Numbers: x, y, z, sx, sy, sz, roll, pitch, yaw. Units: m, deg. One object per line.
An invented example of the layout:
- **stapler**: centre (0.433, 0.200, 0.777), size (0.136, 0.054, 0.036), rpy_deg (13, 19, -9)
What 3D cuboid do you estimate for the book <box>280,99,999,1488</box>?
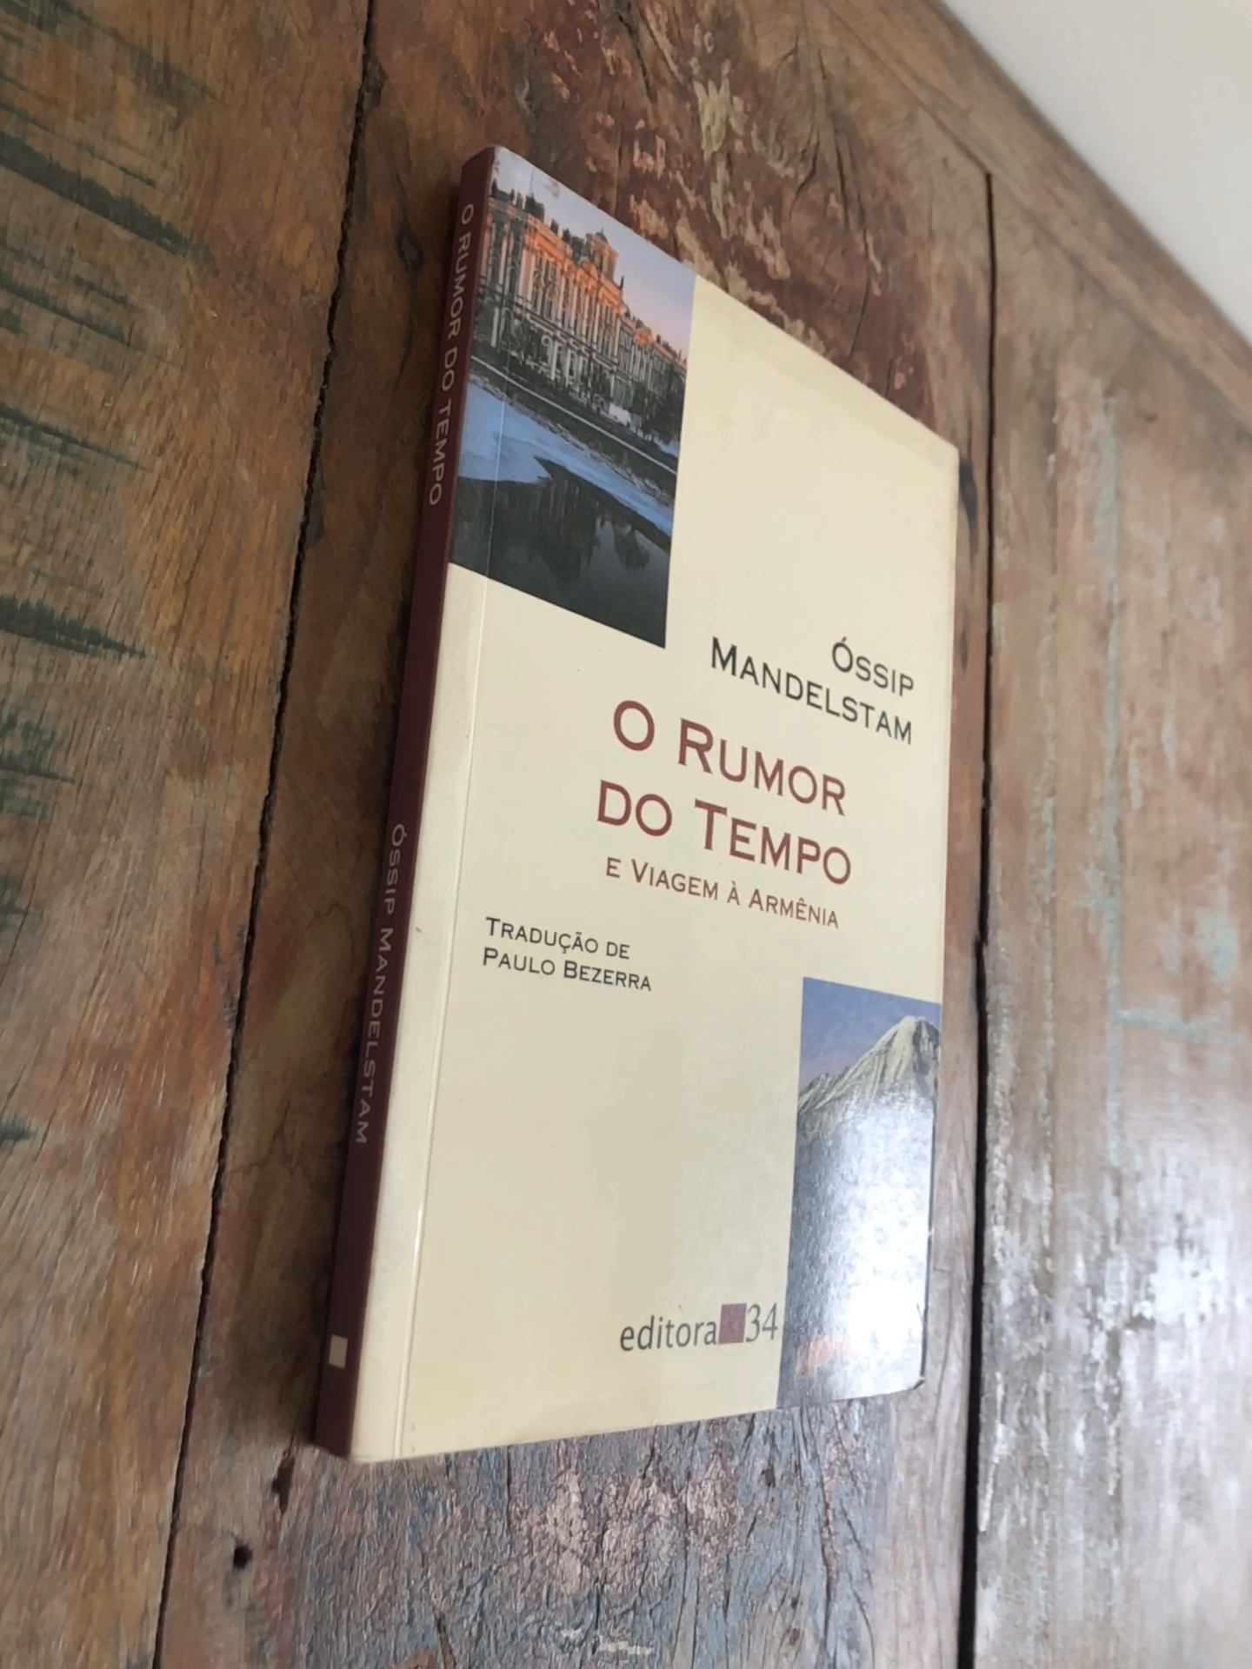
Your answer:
- **book**: centre (0.017, -0.002, 0.257), size (0.141, 0.022, 0.207), rpy_deg (14, 76, -41)
